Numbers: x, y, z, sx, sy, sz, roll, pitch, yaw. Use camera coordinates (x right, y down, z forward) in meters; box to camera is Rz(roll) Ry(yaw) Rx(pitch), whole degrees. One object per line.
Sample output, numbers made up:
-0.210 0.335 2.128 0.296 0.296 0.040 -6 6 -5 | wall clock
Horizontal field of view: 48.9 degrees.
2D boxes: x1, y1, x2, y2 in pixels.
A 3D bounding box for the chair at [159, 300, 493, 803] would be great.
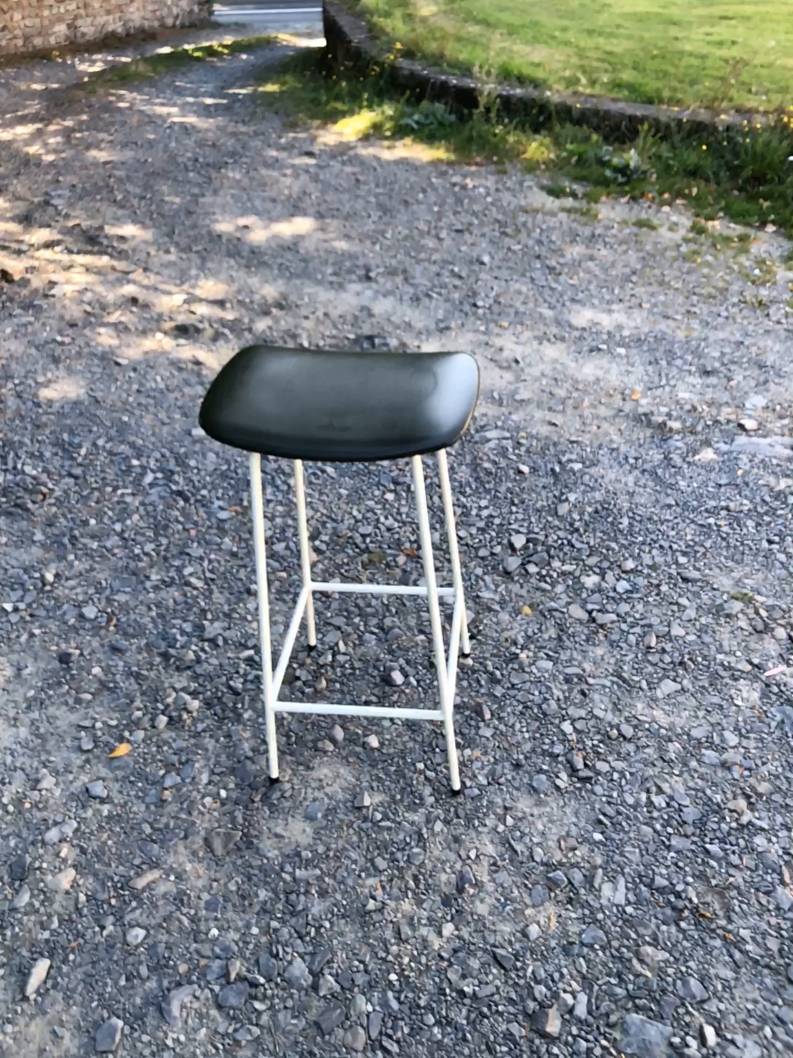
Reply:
-0.066 0.046 1.318 0.370 0.646 0.373 4 39 4 | chair
